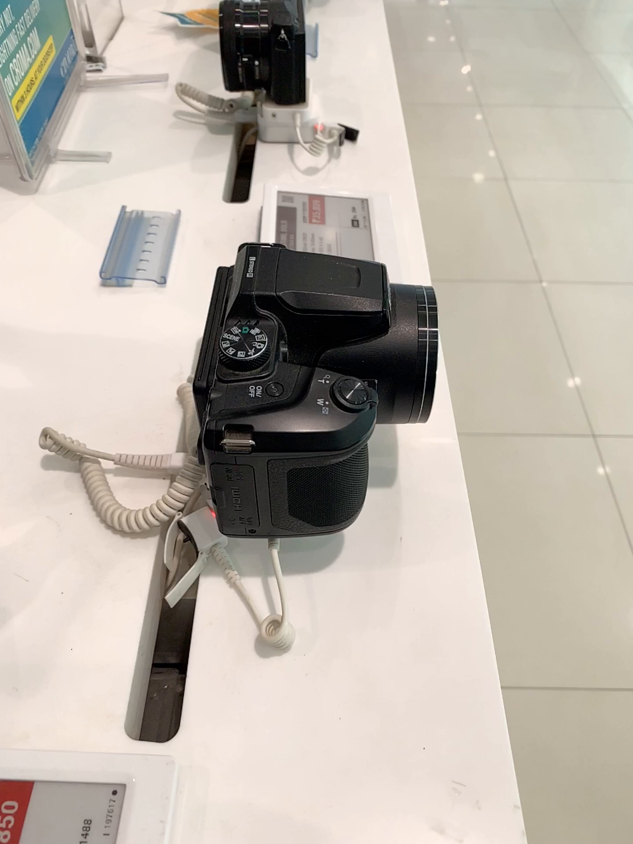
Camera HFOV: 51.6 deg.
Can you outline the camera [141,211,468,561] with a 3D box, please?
[{"bbox_3d":[-0.003,-0.017,0.270,0.100,0.080,0.120,1,49,0],"label":"camera"}]
